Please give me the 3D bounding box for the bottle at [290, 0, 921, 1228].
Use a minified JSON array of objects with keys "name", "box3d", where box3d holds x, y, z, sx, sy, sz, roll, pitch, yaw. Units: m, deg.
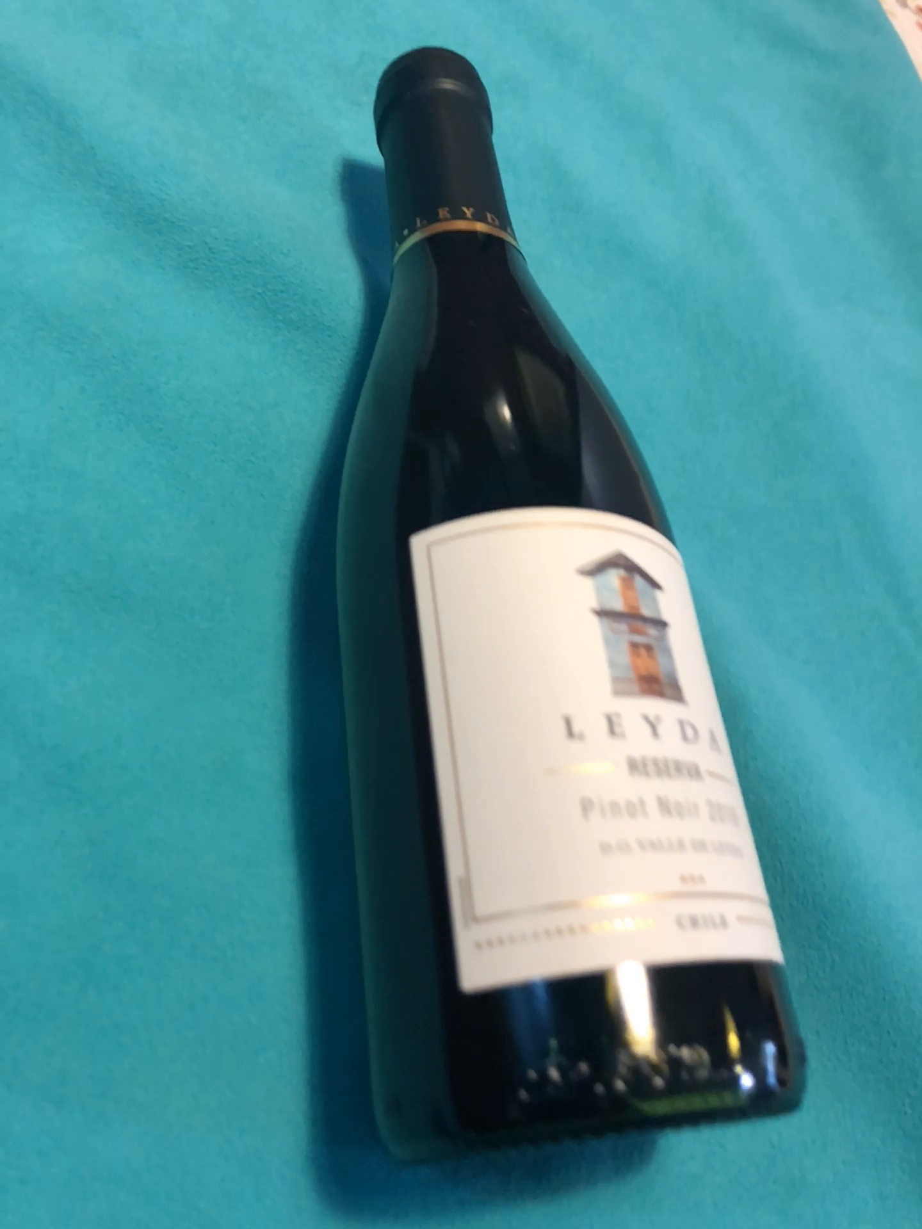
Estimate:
[{"name":"bottle","box3d":[0.014,-0.044,0.188,0.070,0.080,0.261,5,63,-21]}]
